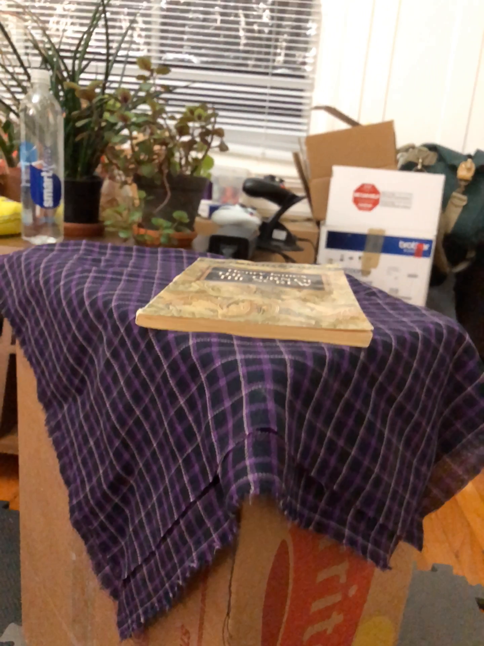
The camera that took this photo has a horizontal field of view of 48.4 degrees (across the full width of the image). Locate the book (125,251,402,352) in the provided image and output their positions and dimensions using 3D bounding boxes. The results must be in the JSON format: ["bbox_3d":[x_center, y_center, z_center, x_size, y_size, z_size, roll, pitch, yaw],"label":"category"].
[{"bbox_3d":[0.019,-0.025,0.379,0.140,0.010,0.221,6,15,3],"label":"book"}]
